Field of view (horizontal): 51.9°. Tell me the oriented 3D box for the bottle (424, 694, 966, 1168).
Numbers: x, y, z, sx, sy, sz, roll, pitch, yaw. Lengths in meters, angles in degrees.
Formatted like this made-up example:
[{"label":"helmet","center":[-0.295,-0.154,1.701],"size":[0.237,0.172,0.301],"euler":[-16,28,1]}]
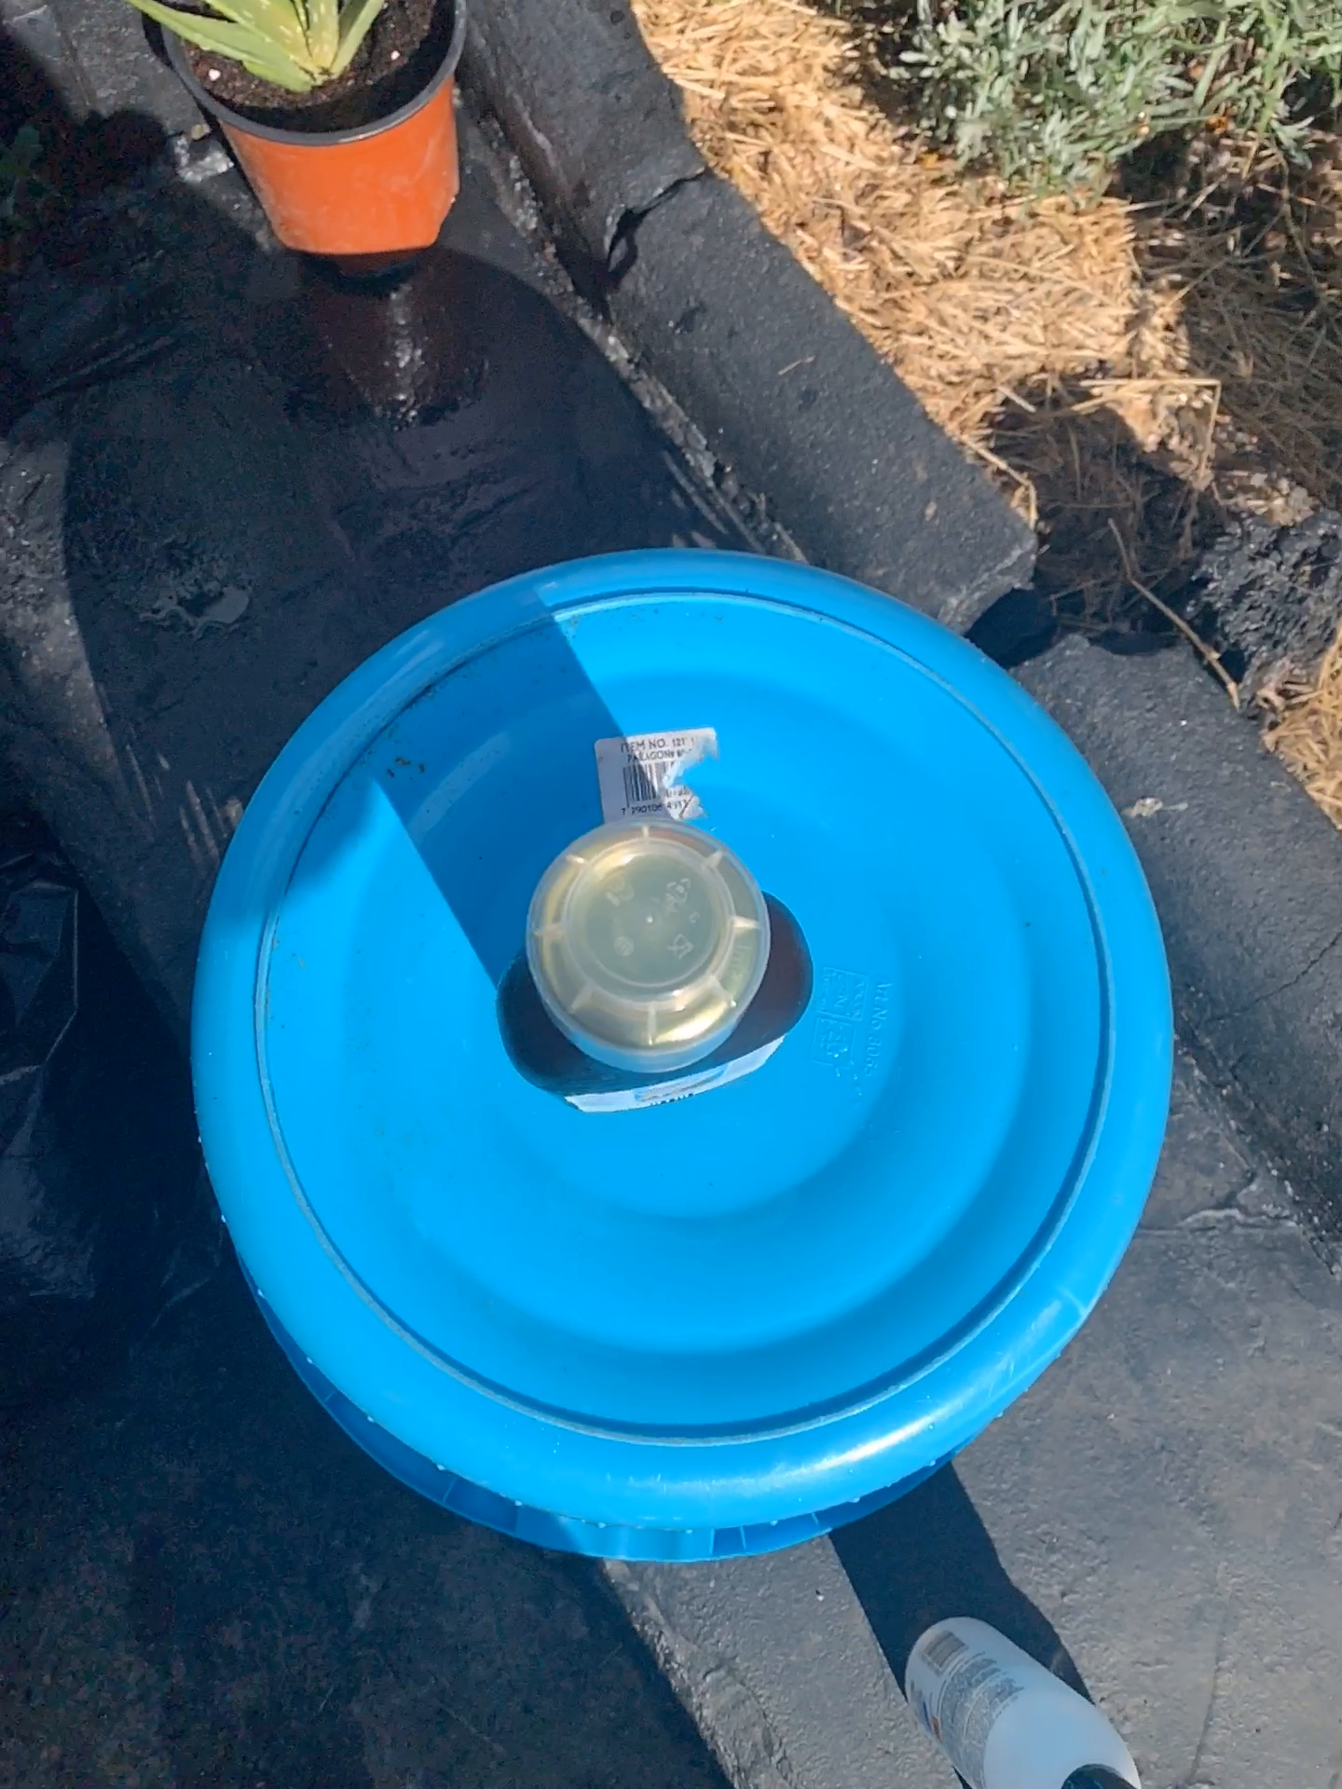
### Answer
[{"label":"bottle","center":[-0.004,0.023,0.327],"size":[0.080,0.199,0.050],"euler":[-15,77,-8]}]
